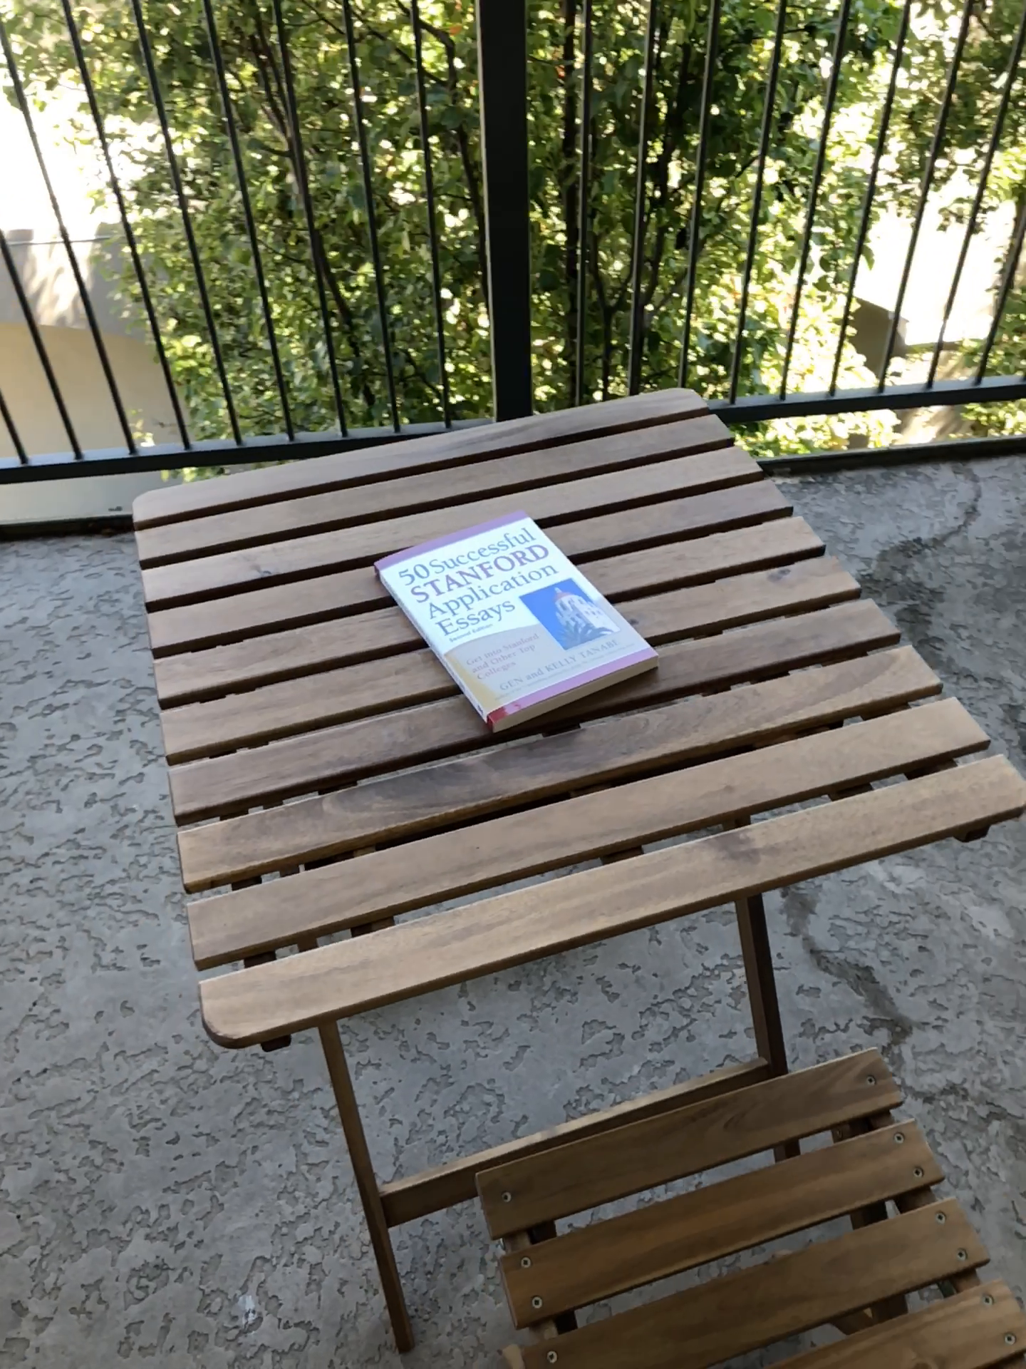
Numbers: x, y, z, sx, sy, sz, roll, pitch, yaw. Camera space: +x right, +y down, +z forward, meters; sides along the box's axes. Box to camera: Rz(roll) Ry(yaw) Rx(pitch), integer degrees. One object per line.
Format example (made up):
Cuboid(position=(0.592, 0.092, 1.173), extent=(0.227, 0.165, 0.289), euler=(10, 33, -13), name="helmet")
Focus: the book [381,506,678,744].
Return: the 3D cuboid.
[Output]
Cuboid(position=(0.008, -0.059, 0.947), extent=(0.157, 0.020, 0.224), euler=(-22, 49, -19), name="book")
